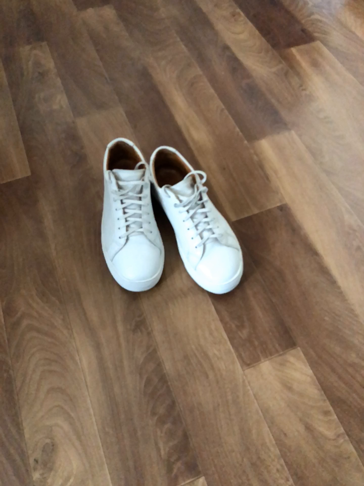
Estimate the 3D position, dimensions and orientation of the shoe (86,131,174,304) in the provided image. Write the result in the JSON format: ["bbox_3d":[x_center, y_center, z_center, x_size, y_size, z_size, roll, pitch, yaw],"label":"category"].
[{"bbox_3d":[-0.091,-0.051,0.688,0.110,0.090,0.281,-9,59,-5],"label":"shoe"}]

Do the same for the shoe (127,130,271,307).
[{"bbox_3d":[0.018,-0.050,0.681,0.110,0.090,0.281,-23,62,-13],"label":"shoe"}]
